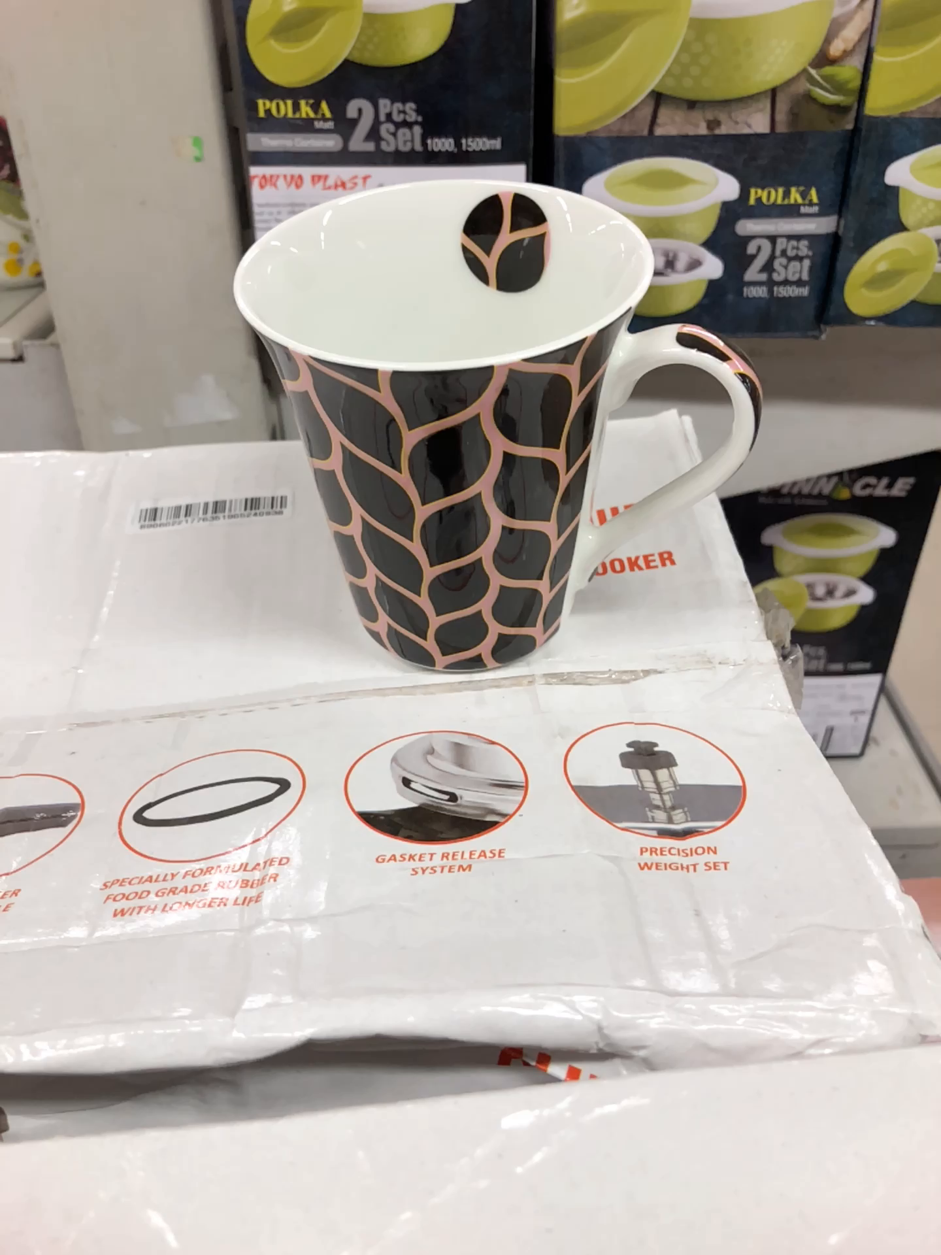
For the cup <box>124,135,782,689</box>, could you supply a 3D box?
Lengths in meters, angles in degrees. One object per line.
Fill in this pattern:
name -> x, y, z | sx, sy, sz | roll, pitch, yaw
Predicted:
cup -> 0.005, -0.052, 0.231 | 0.110, 0.079, 0.091 | 5, 41, 10
